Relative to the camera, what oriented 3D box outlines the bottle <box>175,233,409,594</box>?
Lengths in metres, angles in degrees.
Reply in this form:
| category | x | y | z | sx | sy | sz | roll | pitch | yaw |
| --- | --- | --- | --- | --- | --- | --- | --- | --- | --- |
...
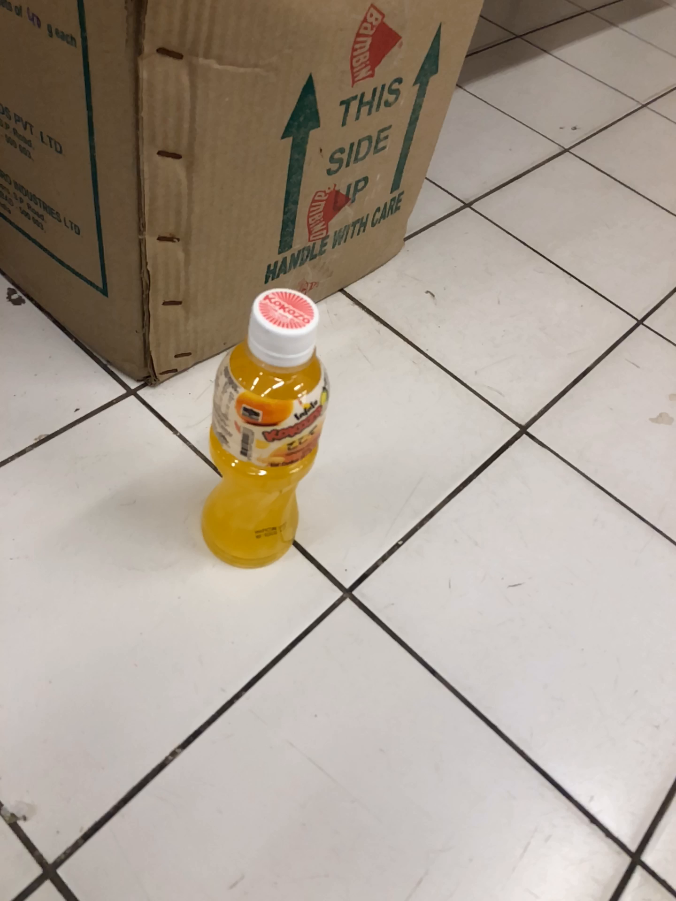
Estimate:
| category | x | y | z | sx | sy | sz | roll | pitch | yaw |
| --- | --- | --- | --- | --- | --- | --- | --- | --- | --- |
| bottle | -0.034 | -0.011 | 0.388 | 0.070 | 0.179 | 0.070 | 7 | 50 | -9 |
